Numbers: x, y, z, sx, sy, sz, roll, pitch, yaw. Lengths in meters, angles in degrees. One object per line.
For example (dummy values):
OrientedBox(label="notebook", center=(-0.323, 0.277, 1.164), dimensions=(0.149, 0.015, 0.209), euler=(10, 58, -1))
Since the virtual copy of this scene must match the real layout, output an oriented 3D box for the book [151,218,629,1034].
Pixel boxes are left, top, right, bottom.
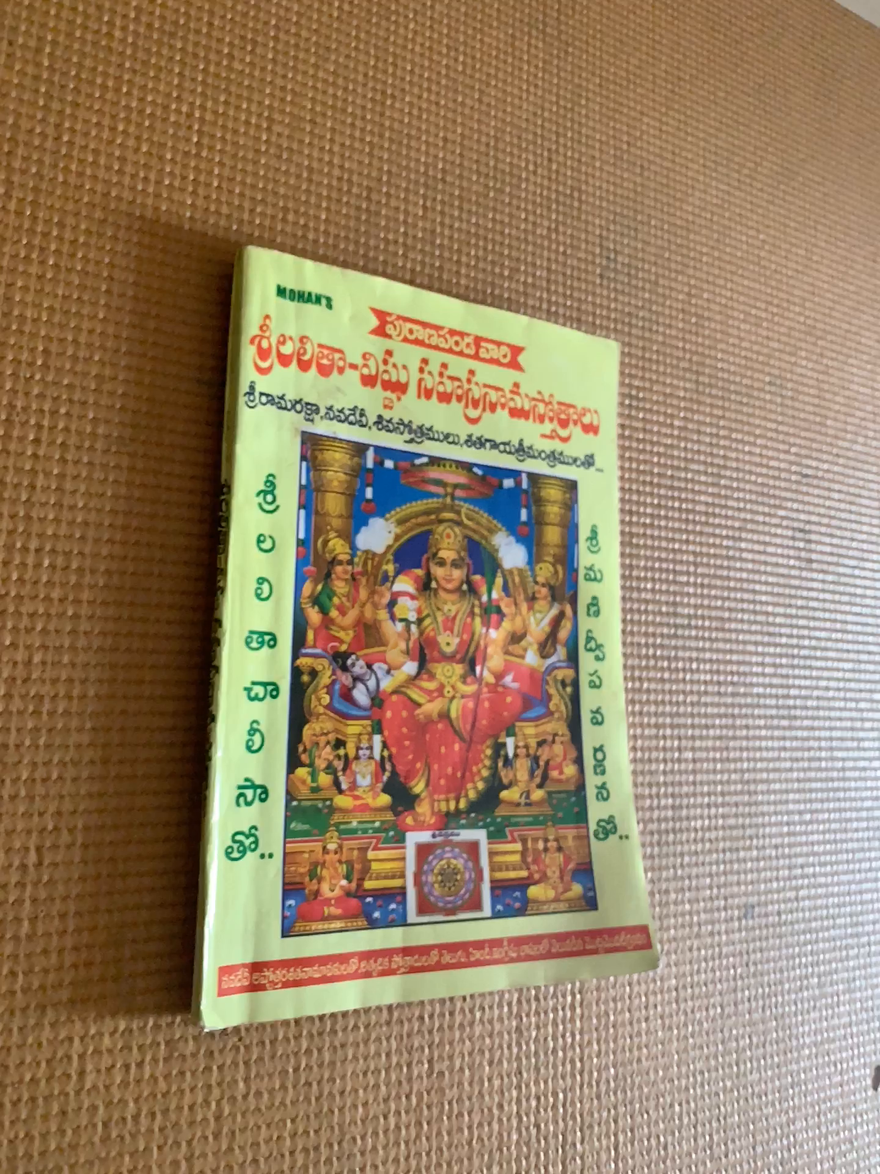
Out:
OrientedBox(label="book", center=(-0.007, 0.009, 0.277), dimensions=(0.141, 0.020, 0.210), euler=(6, 79, -29))
